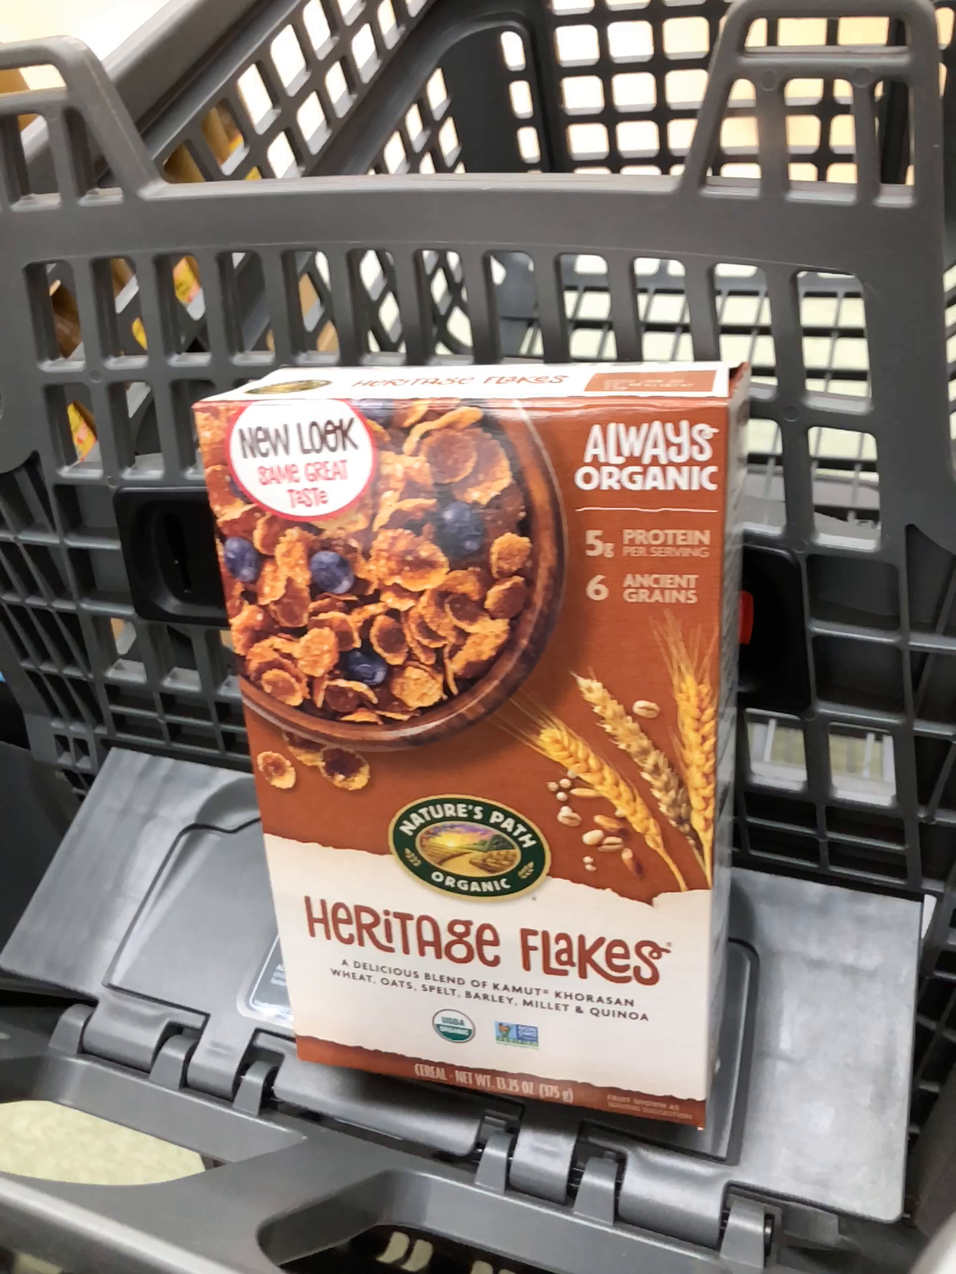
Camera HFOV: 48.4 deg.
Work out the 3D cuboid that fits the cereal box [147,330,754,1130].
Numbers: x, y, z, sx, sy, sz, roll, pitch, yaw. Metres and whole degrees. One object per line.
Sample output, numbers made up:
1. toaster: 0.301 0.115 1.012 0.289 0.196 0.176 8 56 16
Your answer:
1. cereal box: 0.000 0.032 0.359 0.170 0.250 0.060 3 21 17
